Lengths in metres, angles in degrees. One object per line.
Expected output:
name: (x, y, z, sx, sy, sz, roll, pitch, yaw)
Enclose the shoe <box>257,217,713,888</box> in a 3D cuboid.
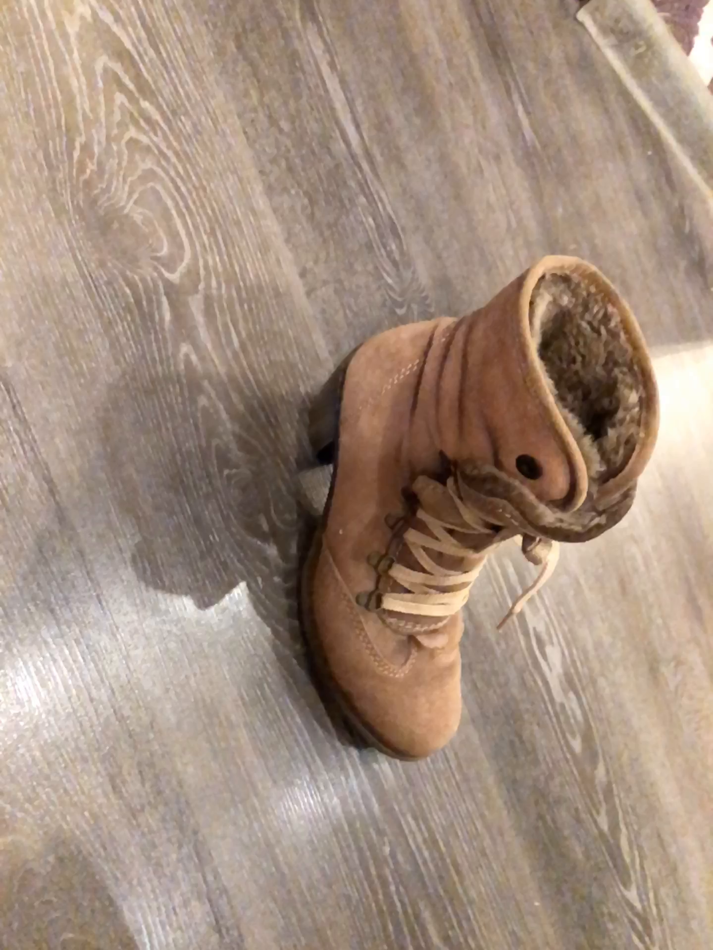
shoe: (0.057, 0.036, 0.385, 0.100, 0.189, 0.240, -4, 82, -36)
